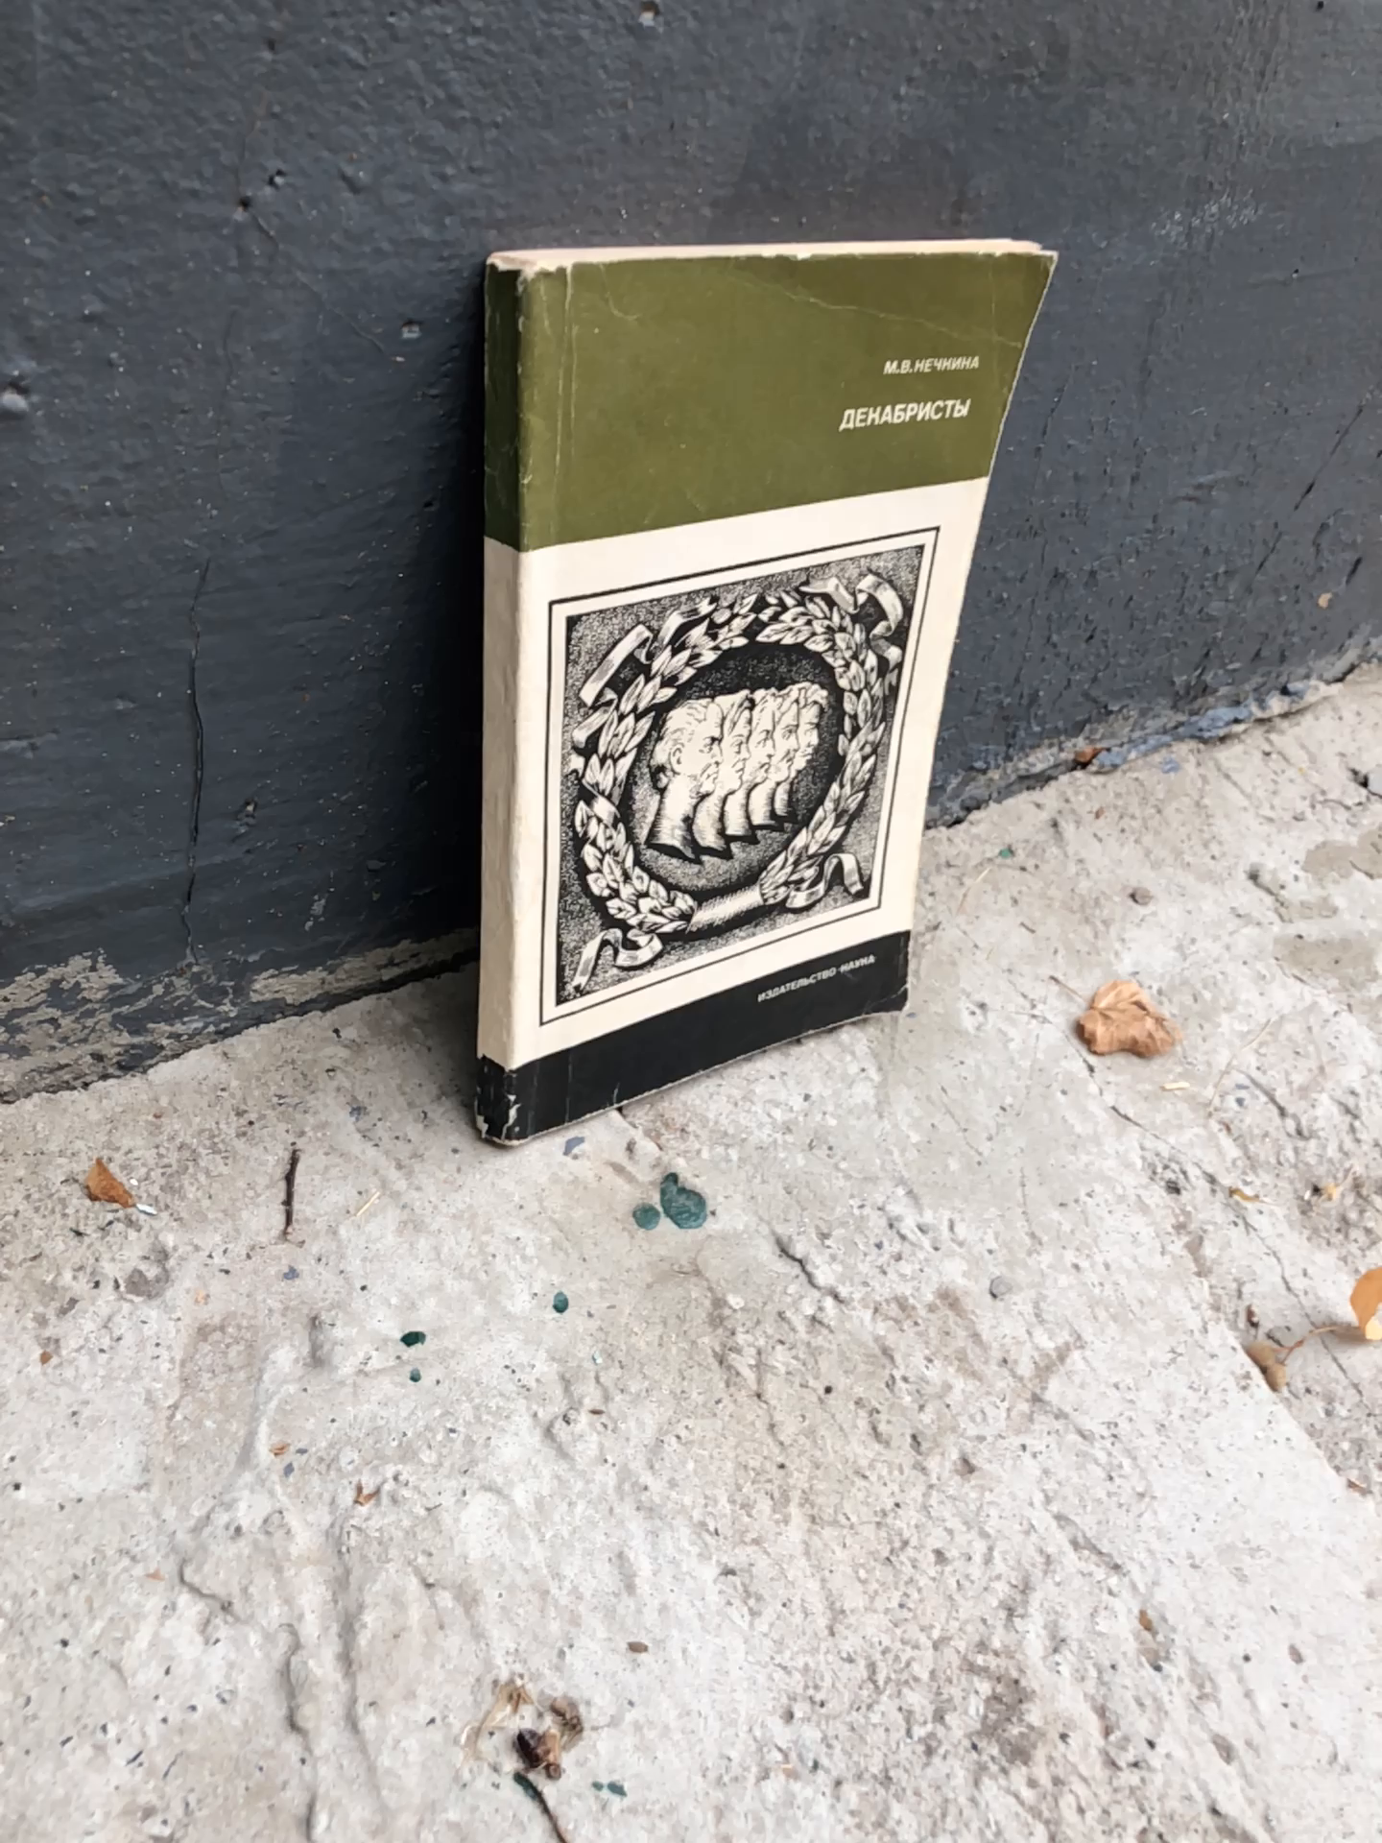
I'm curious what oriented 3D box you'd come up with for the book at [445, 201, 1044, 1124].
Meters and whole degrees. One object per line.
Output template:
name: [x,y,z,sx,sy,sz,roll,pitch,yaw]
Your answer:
book: [0.010,-0.052,0.312,0.120,0.169,0.020,-18,36,-33]
